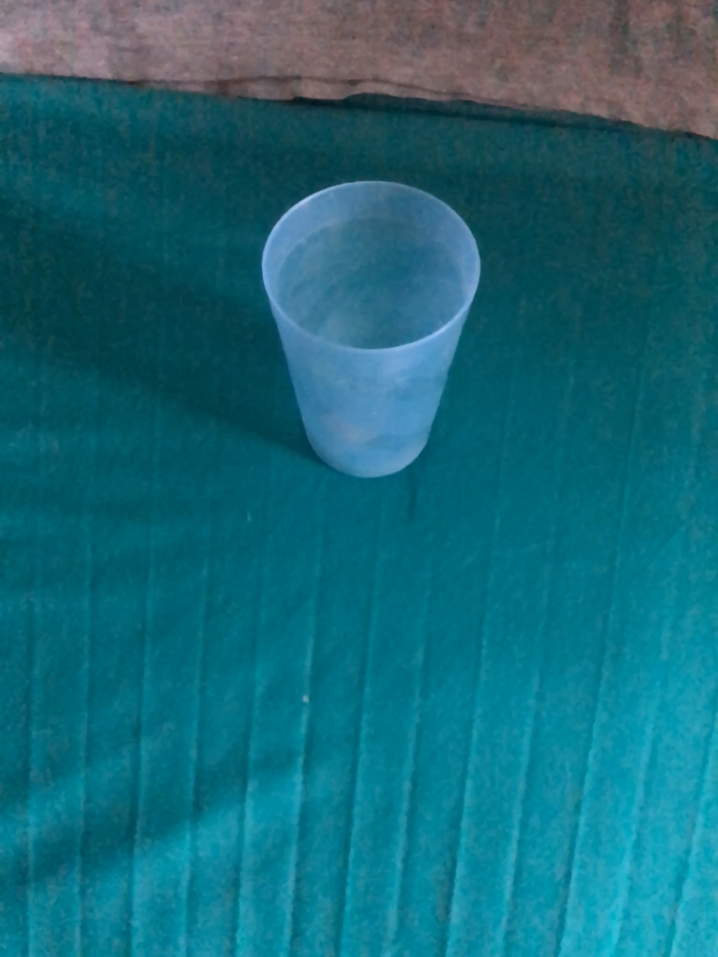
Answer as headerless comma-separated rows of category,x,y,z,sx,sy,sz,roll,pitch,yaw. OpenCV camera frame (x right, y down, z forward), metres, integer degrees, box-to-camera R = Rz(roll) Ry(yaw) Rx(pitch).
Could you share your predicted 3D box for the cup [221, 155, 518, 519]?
cup,0.004,-0.043,0.292,0.078,0.119,0.066,10,67,4
